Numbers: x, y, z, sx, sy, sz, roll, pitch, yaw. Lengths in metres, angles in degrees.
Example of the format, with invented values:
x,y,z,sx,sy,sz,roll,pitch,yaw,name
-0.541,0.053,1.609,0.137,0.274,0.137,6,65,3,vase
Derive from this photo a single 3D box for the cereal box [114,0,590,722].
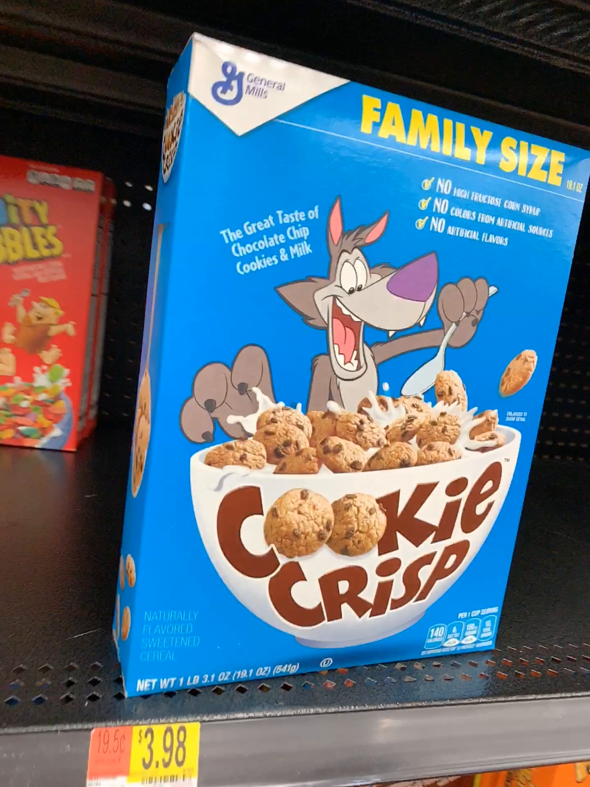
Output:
x,y,z,sx,sy,sz,roll,pitch,yaw,name
0.041,-0.001,0.361,0.250,0.339,0.070,4,11,-24,cereal box
